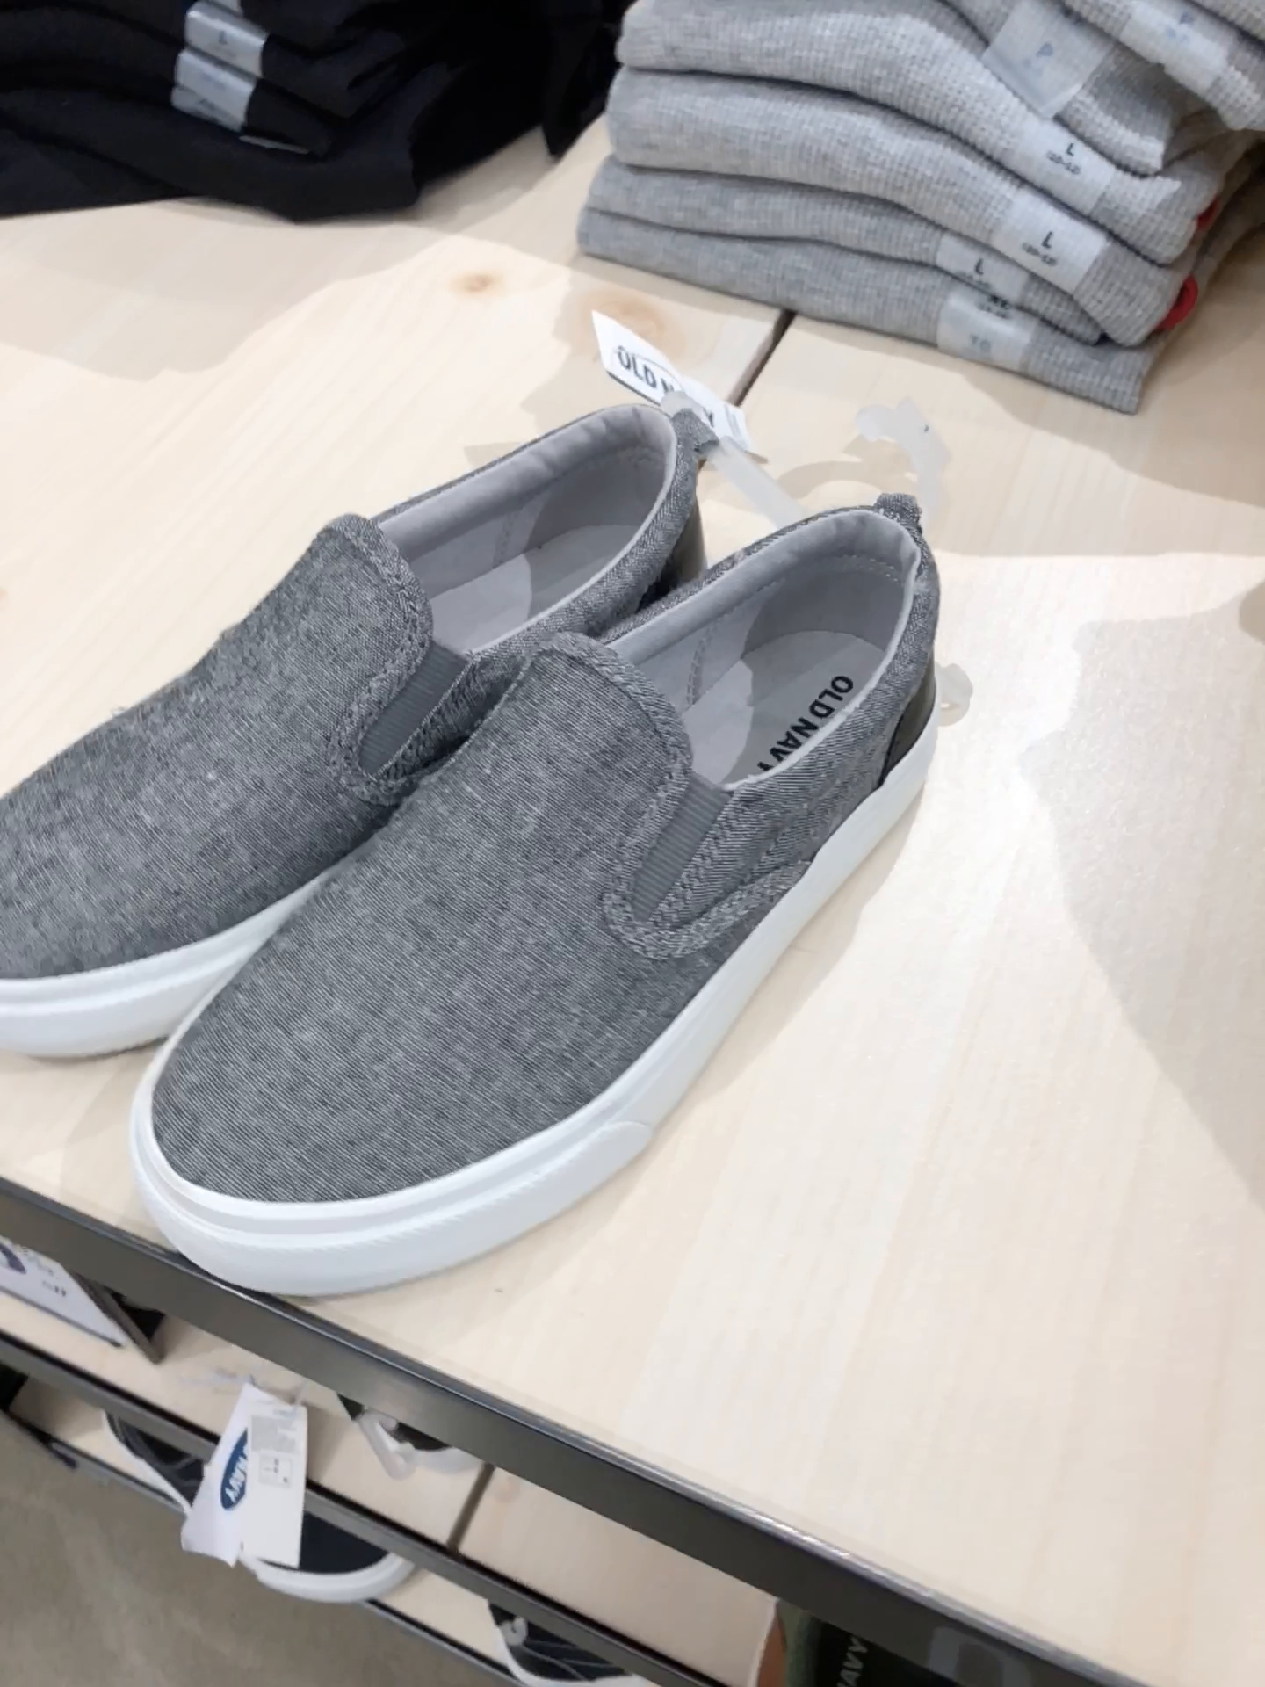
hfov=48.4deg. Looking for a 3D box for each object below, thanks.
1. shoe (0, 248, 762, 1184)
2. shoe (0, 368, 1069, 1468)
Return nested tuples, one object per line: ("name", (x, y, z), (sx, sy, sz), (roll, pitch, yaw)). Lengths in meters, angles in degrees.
("shoe", (-0.079, -0.038, 0.331), (0.210, 0.100, 0.090), (-34, 57, -22))
("shoe", (-0.015, 0.005, 0.300), (0.090, 0.100, 0.210), (36, 61, 27))
